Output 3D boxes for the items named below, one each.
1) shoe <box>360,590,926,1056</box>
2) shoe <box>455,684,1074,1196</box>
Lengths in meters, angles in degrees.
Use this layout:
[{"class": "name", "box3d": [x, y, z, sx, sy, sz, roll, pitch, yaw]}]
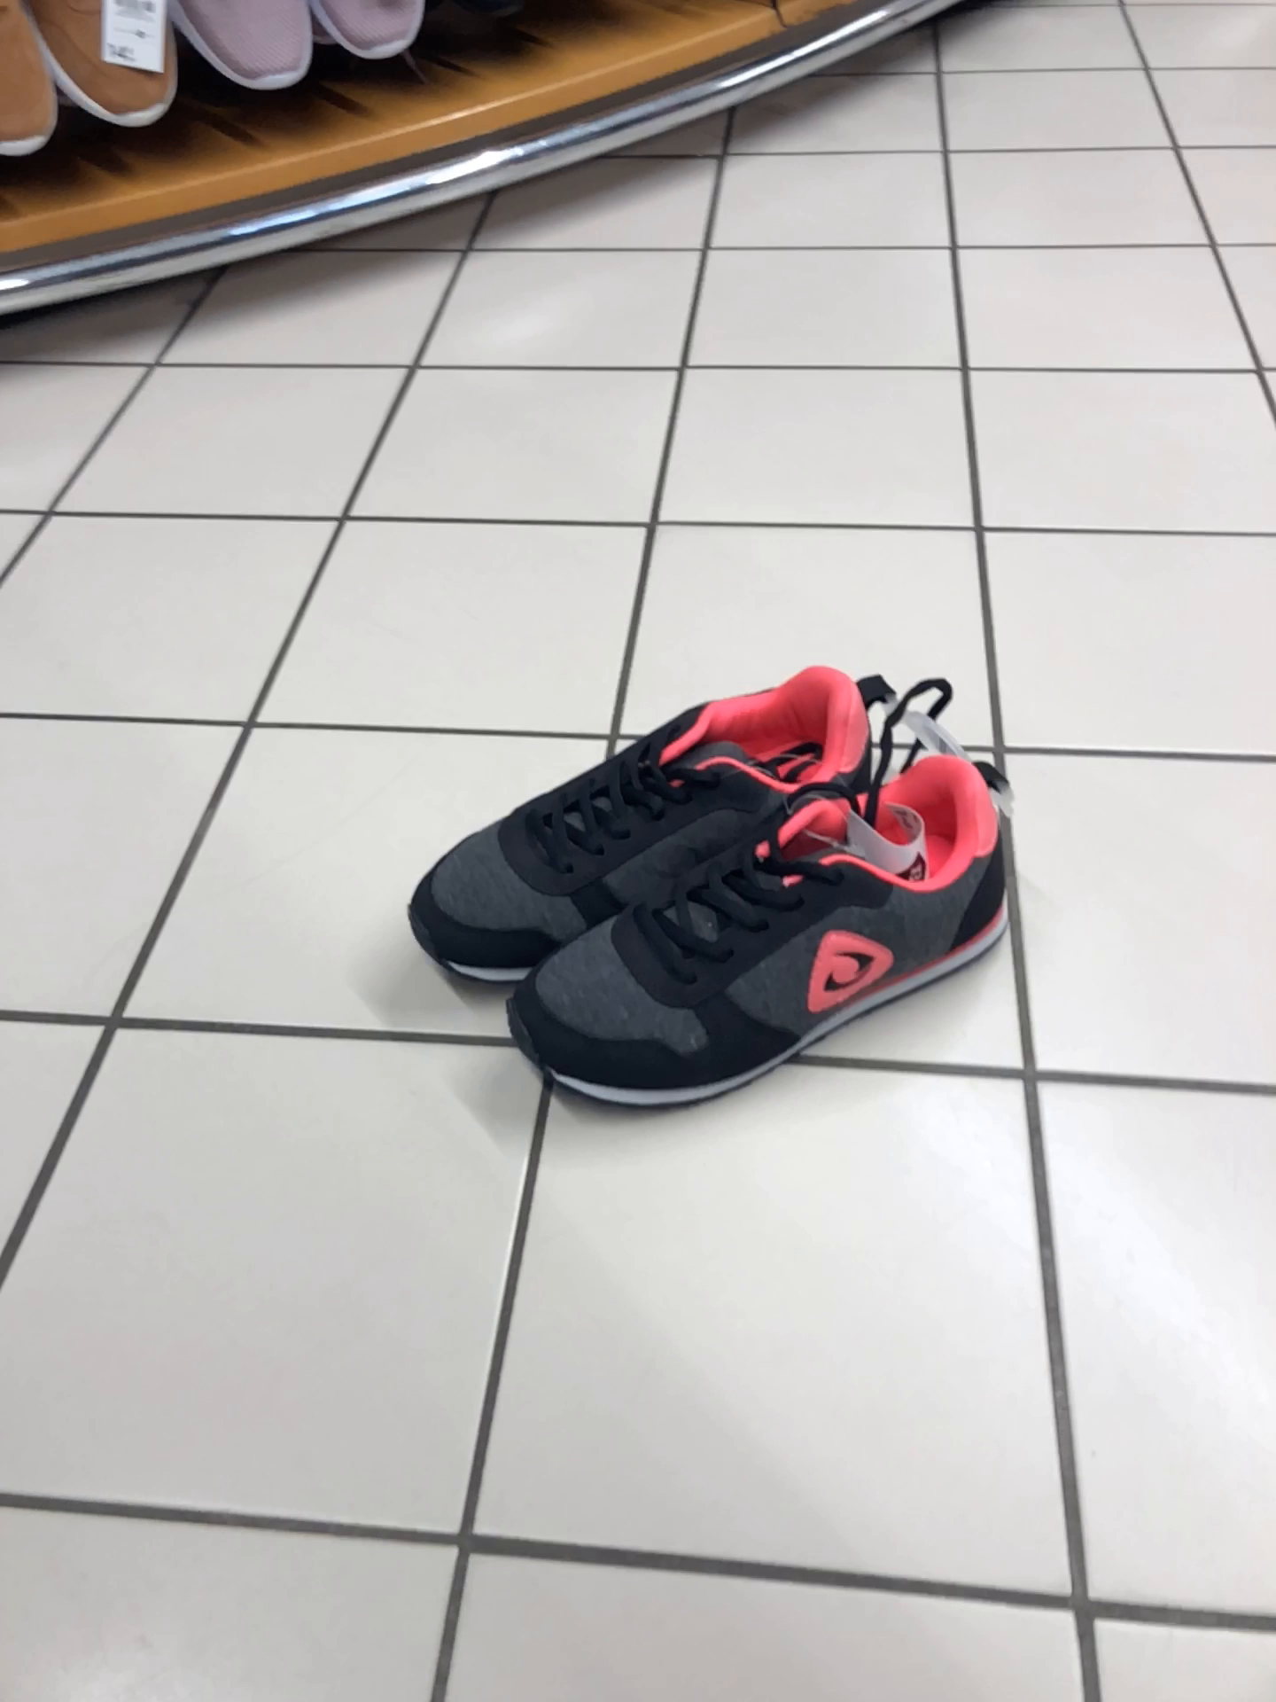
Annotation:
[{"class": "shoe", "box3d": [0.006, -0.017, 0.618, 0.221, 0.099, 0.090, -23, 49, -17]}, {"class": "shoe", "box3d": [0.051, 0.031, 0.568, 0.221, 0.099, 0.090, -22, 49, -17]}]
